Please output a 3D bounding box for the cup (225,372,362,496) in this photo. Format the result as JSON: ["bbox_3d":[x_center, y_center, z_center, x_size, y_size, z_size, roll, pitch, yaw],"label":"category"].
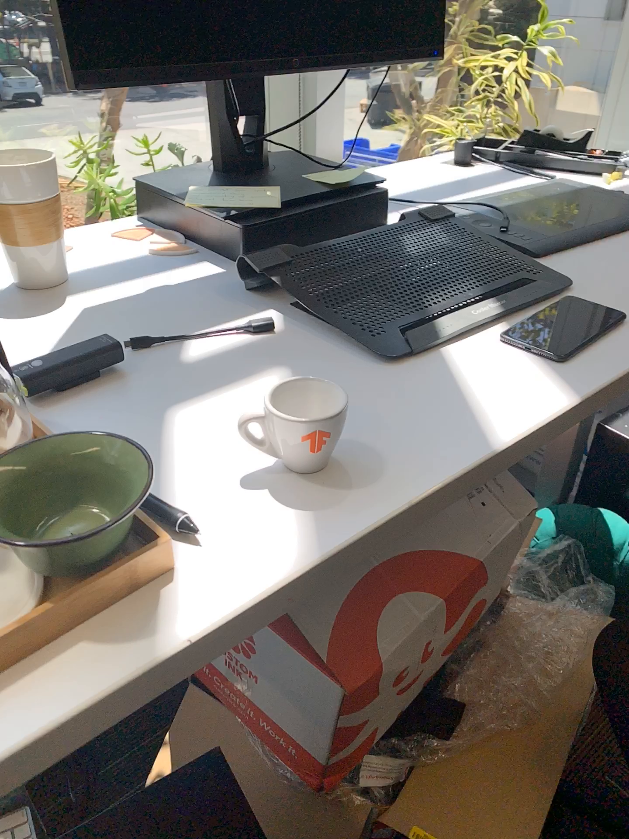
[{"bbox_3d":[-0.017,0.010,0.496,0.090,0.060,0.060,-8,35,-13],"label":"cup"}]
